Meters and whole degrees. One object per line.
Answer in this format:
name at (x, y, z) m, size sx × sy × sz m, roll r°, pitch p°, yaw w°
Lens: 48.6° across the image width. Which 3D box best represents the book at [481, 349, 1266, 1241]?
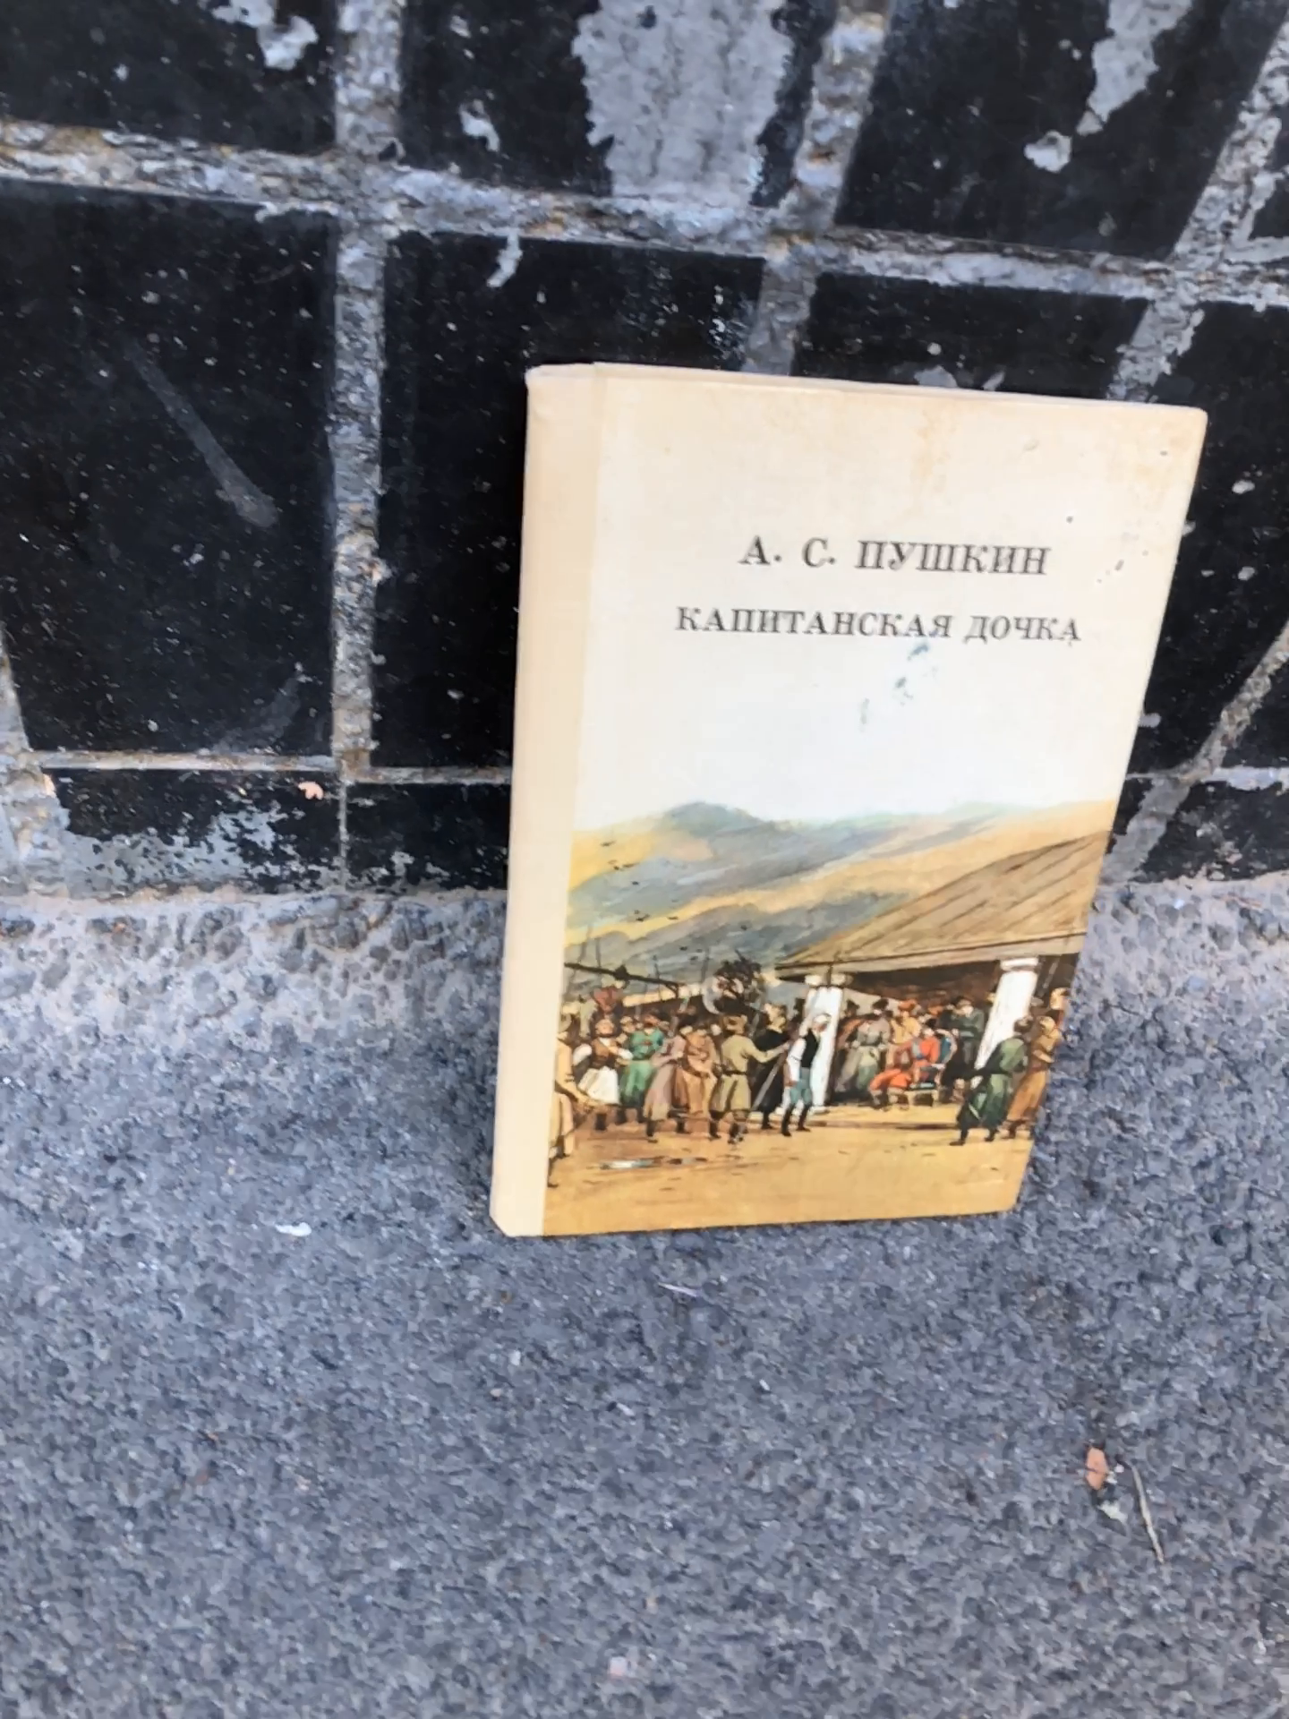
book at (0.043, -0.001, 0.339) m, size 0.150 × 0.214 × 0.020 m, roll 0°, pitch 28°, yaw -13°
